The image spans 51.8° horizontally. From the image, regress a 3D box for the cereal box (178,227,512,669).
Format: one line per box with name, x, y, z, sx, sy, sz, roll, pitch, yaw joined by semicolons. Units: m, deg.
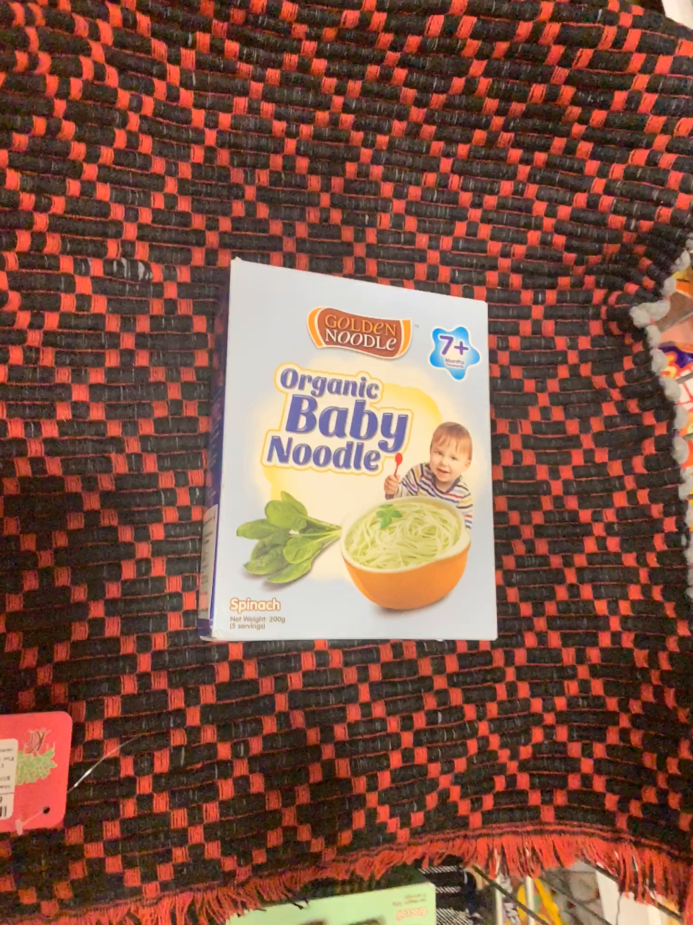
cereal box;0.000;-0.001;0.313;0.130;0.050;0.170;4;78;-19
